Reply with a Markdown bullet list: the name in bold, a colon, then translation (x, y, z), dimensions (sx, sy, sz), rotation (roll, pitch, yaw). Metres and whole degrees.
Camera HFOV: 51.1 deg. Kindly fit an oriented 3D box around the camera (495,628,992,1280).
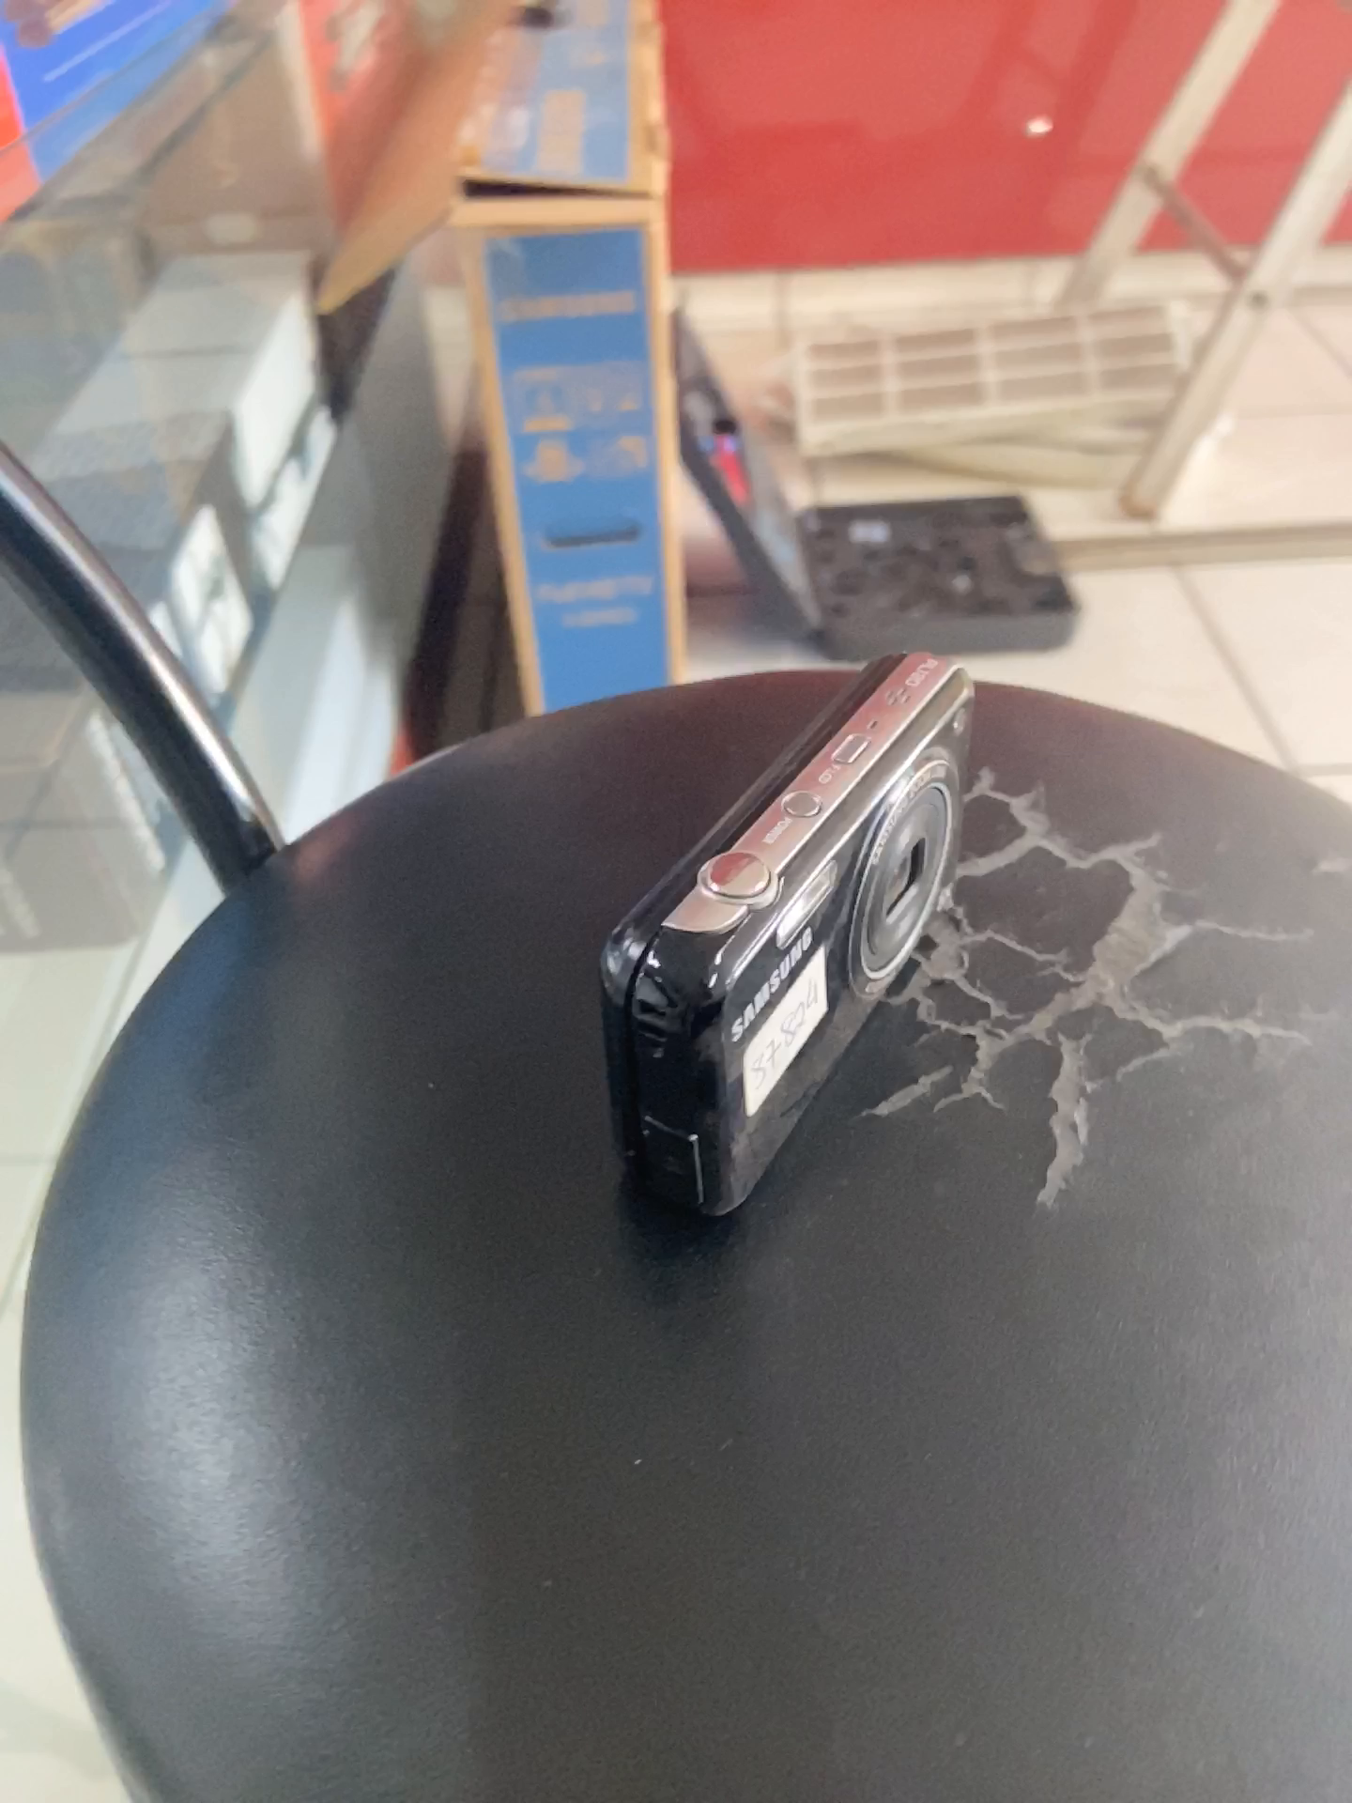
- **camera**: translation (0.016, 0.004, 0.232), dimensions (0.030, 0.050, 0.100), rotation (21, 47, 25)
